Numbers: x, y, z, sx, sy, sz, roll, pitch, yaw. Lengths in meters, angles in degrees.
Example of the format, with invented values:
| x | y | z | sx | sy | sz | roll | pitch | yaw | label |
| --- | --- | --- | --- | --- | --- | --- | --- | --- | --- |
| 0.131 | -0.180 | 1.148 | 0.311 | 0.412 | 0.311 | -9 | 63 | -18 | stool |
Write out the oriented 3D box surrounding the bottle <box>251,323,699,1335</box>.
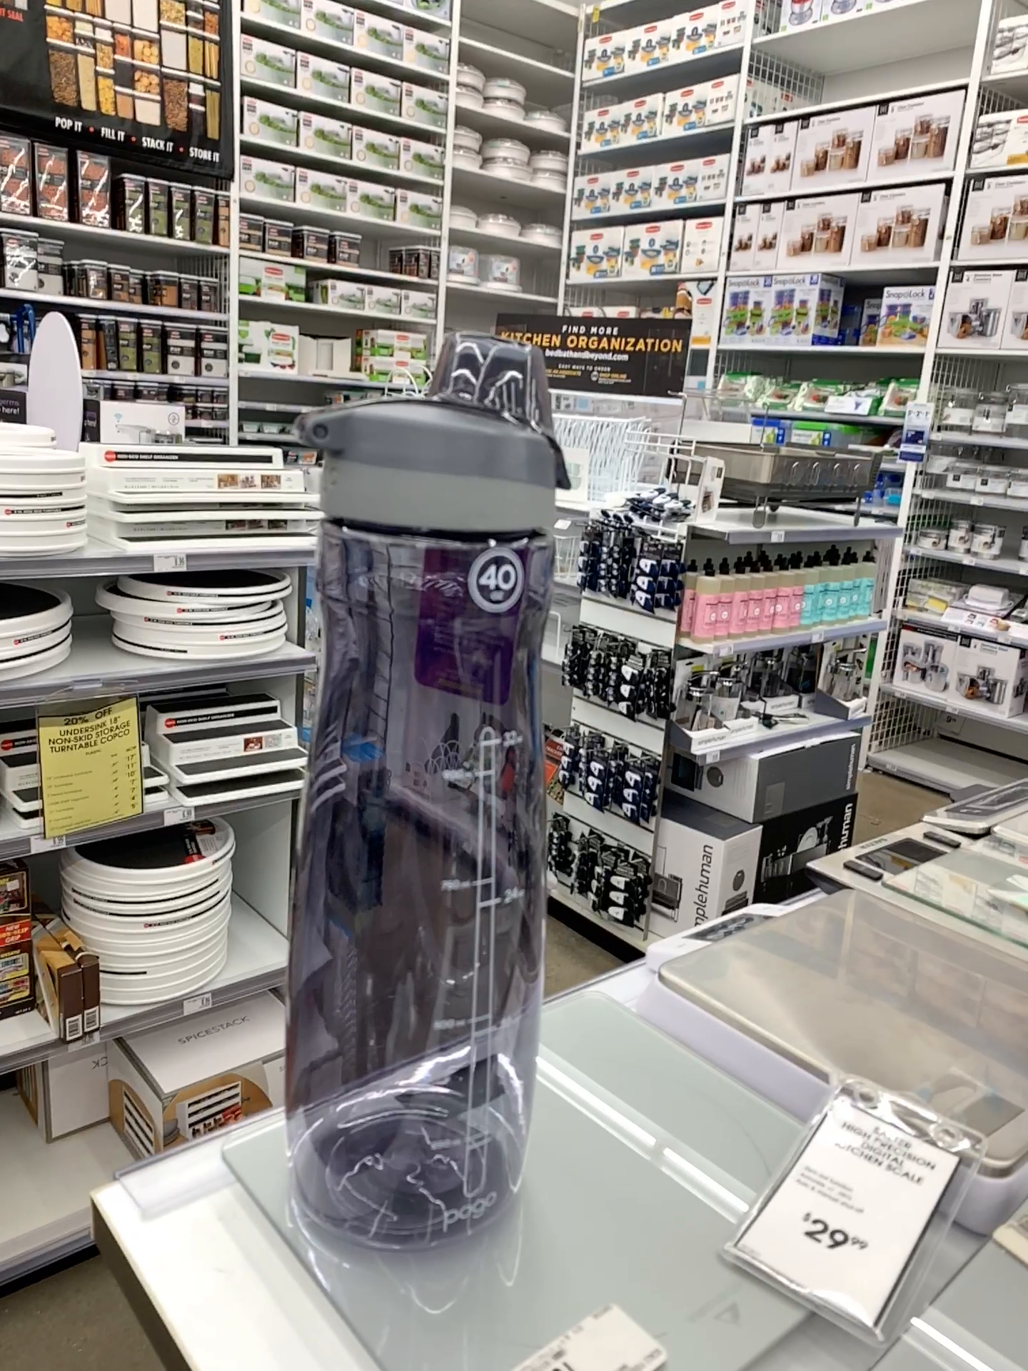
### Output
| x | y | z | sx | sy | sz | roll | pitch | yaw | label |
| --- | --- | --- | --- | --- | --- | --- | --- | --- | --- |
| -0.025 | 0.042 | 0.365 | 0.100 | 0.309 | 0.100 | 4 | 15 | -1 | bottle |
